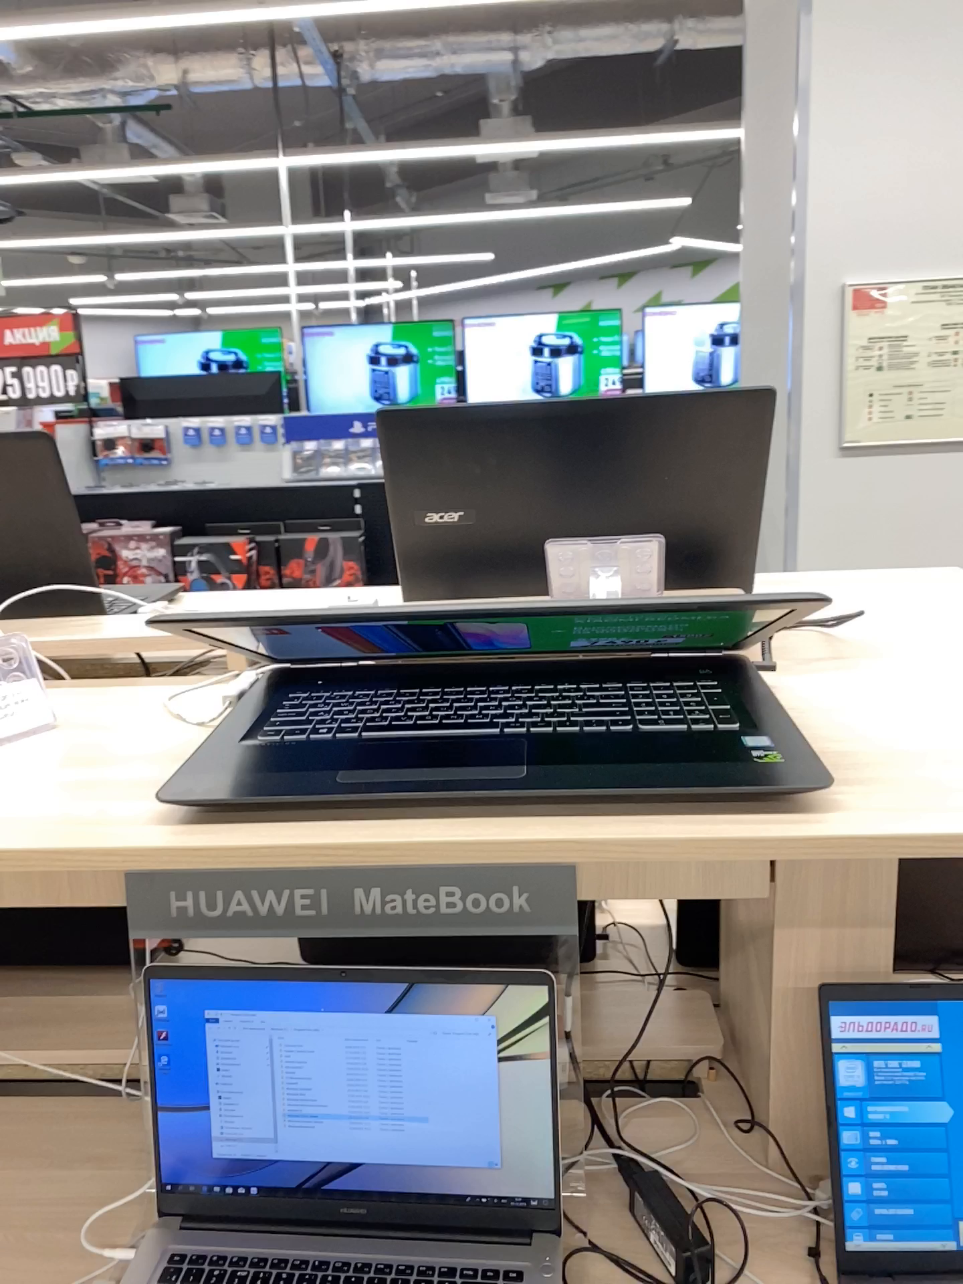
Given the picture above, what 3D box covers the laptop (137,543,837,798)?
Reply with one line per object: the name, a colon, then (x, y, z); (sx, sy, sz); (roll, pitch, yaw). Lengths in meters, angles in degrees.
laptop: (0.007, 0.008, 0.717); (0.414, 0.095, 0.269); (-2, 15, 5)
